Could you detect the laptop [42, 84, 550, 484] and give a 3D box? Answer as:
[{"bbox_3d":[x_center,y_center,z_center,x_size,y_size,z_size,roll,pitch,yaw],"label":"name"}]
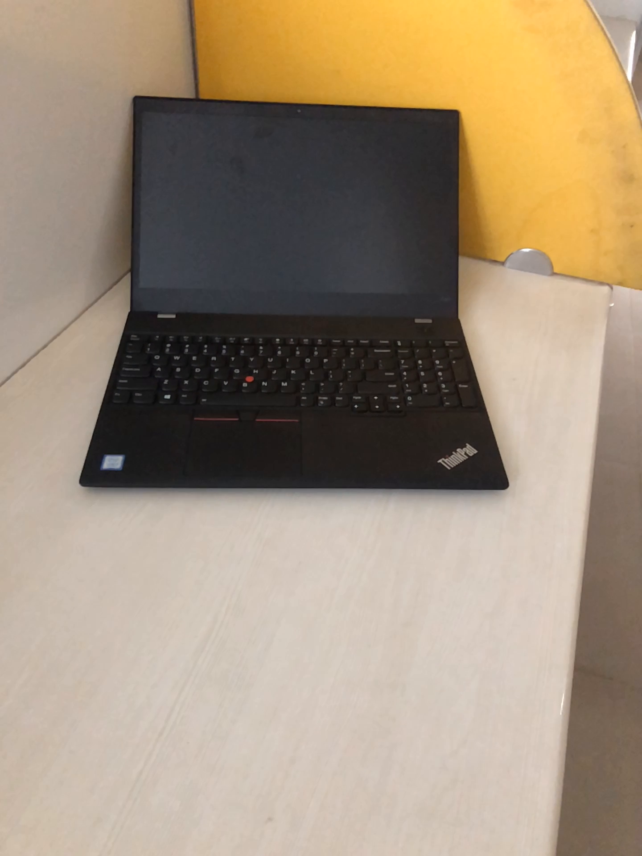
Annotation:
[{"bbox_3d":[-0.024,-0.163,0.679,0.344,0.150,0.422,1,45,-4],"label":"laptop"}]
